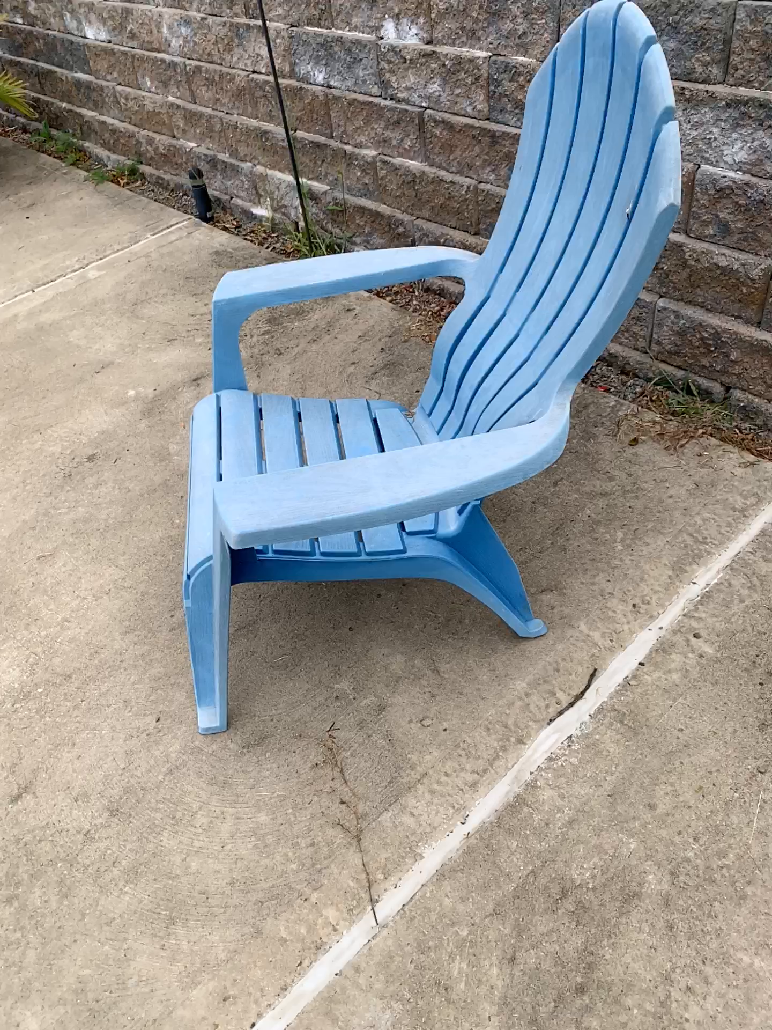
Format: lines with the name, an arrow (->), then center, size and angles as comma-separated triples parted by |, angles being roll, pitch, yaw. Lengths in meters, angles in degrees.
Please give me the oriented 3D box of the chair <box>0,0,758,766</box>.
chair -> -0.057, -0.230, 1.203 | 0.760, 0.885, 0.704 | -11, 43, -1
